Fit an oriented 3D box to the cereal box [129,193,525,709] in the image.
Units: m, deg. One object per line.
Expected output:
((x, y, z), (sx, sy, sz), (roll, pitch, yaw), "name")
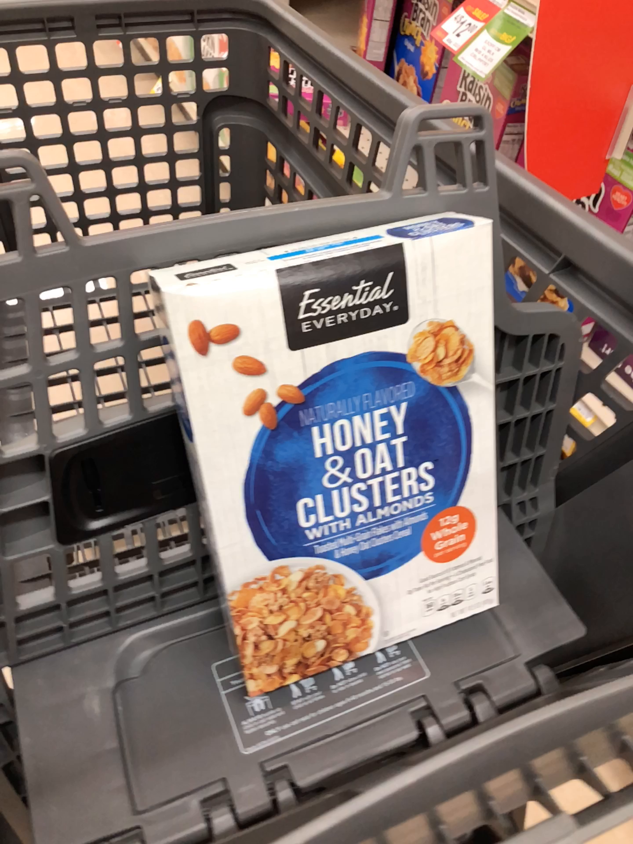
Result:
((0.022, 0.020, 0.440), (0.210, 0.280, 0.060), (-15, 26, -16), "cereal box")
